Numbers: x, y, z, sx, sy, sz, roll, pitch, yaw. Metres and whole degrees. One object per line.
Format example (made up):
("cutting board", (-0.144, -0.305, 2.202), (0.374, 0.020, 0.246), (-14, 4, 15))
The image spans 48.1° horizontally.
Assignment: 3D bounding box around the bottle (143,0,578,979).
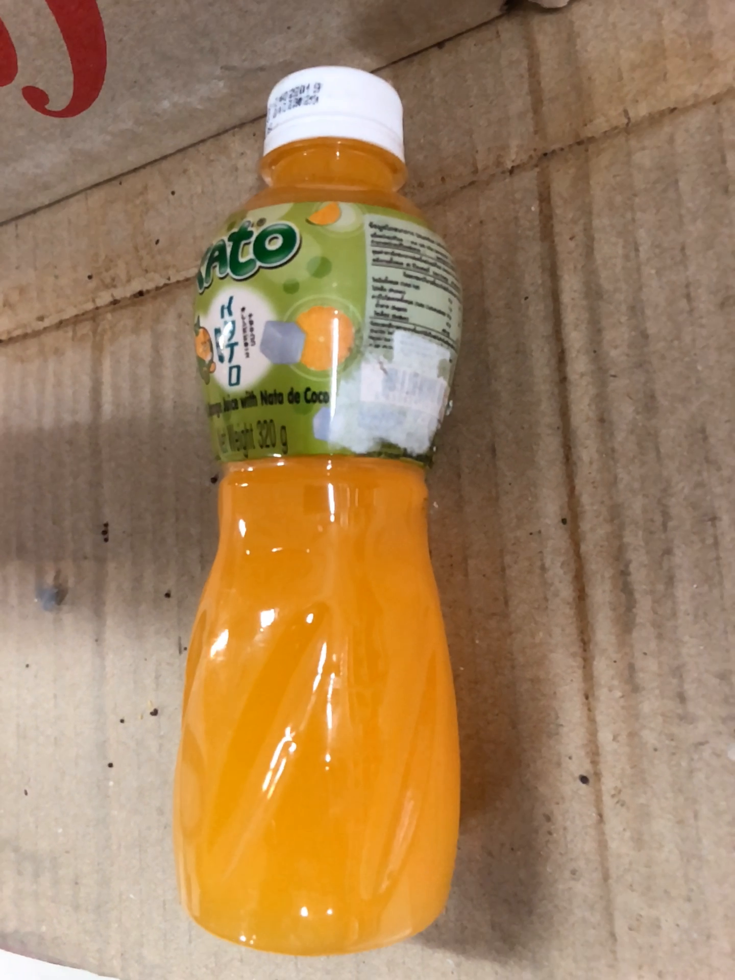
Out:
("bottle", (0.001, -0.005, 0.179), (0.070, 0.060, 0.190), (-2, 85, 32))
